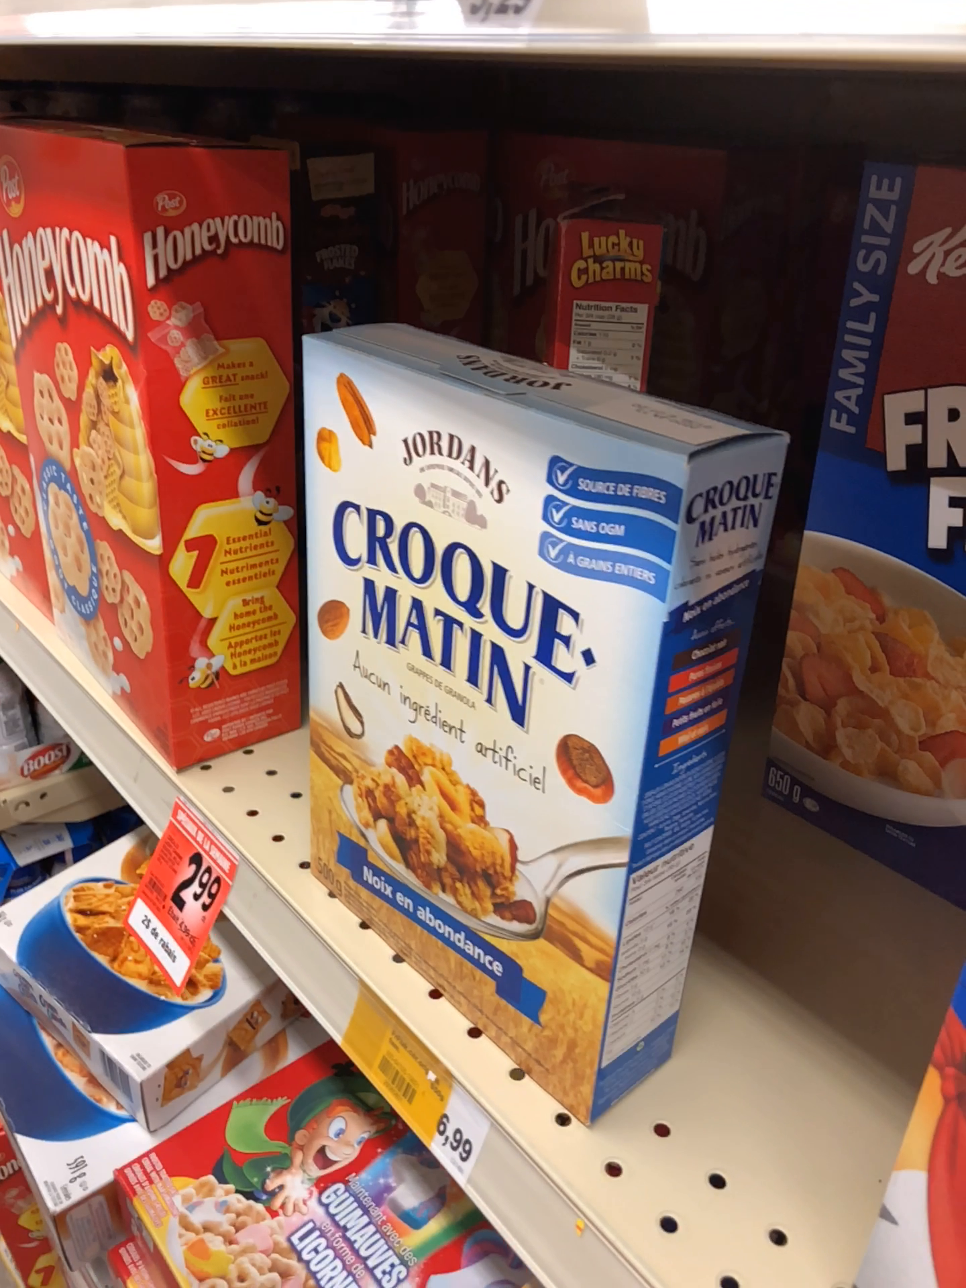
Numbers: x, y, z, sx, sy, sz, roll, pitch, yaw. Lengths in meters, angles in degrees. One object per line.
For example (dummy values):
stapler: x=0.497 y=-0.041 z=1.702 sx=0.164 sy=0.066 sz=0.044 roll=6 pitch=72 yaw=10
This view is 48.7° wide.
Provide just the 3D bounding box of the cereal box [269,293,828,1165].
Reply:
cereal box: x=0.001 y=0.022 z=0.394 sx=0.050 sy=0.258 sz=0.201 roll=-20 pitch=35 yaw=-37
